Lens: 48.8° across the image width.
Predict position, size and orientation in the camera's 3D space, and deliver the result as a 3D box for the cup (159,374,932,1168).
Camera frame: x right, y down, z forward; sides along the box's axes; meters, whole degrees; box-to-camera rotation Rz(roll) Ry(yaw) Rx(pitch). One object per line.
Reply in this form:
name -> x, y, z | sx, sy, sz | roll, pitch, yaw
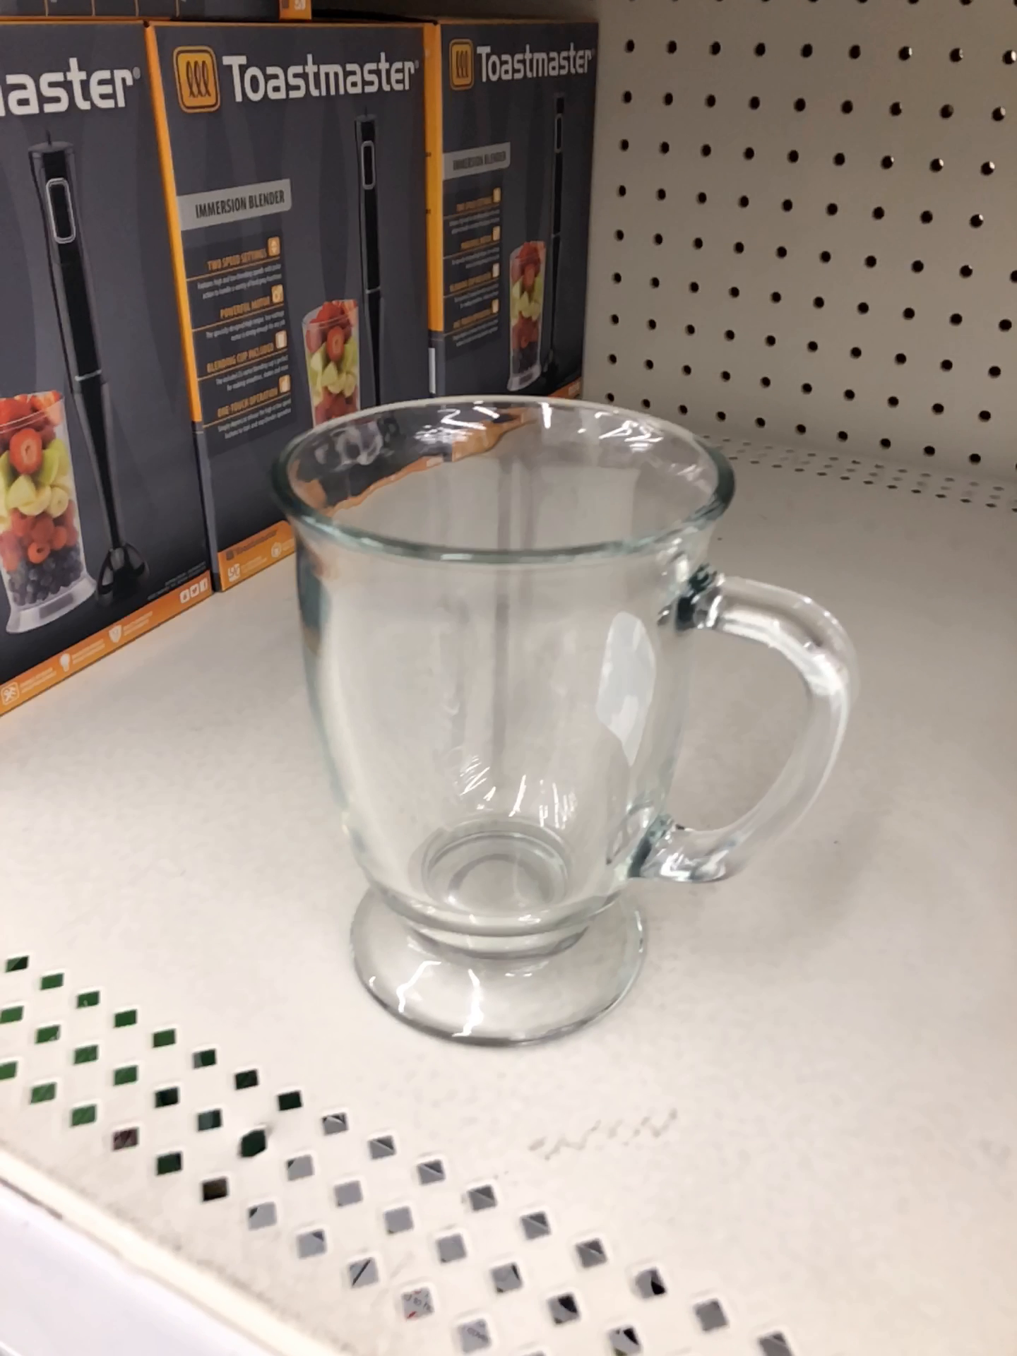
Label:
cup -> 0.013, 0.010, 0.282 | 0.138, 0.128, 0.110 | 15, 33, 25
